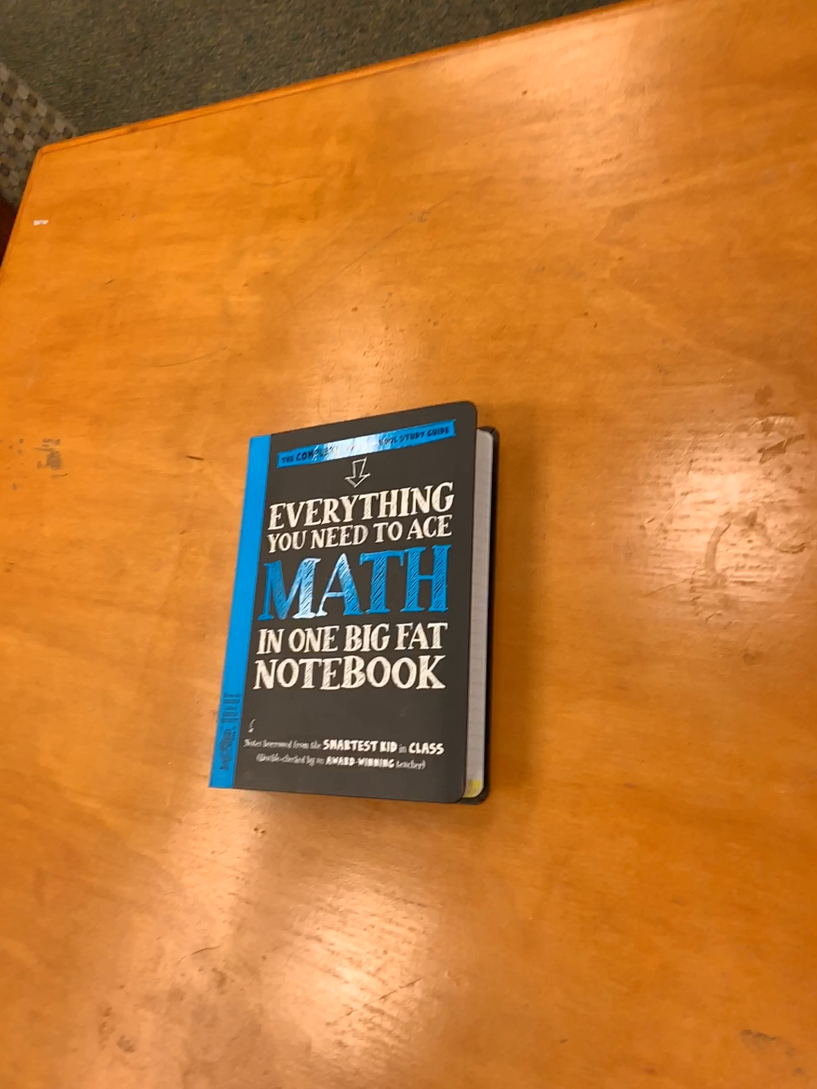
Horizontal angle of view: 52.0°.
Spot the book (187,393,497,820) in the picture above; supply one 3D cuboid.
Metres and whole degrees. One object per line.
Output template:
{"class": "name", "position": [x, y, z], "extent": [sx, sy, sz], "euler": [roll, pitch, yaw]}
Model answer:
{"class": "book", "position": [-0.034, 0.035, 0.459], "extent": [0.157, 0.050, 0.208], "euler": [-4, 76, 25]}
